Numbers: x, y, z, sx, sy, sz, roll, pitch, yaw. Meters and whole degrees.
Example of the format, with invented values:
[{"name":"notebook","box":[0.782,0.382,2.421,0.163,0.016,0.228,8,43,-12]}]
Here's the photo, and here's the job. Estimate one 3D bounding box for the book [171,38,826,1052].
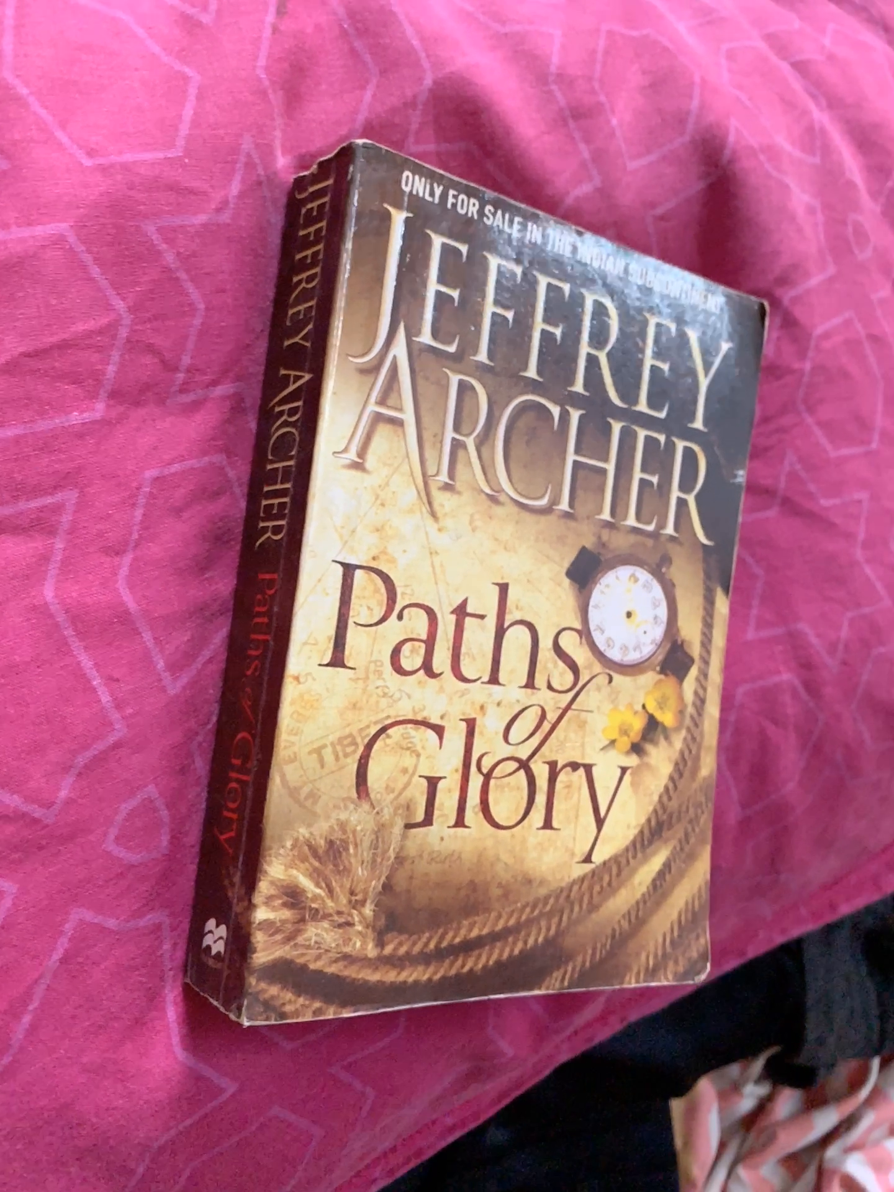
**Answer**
[{"name":"book","box":[0.017,-0.004,0.209,0.120,0.040,0.180,10,85,-27]}]
